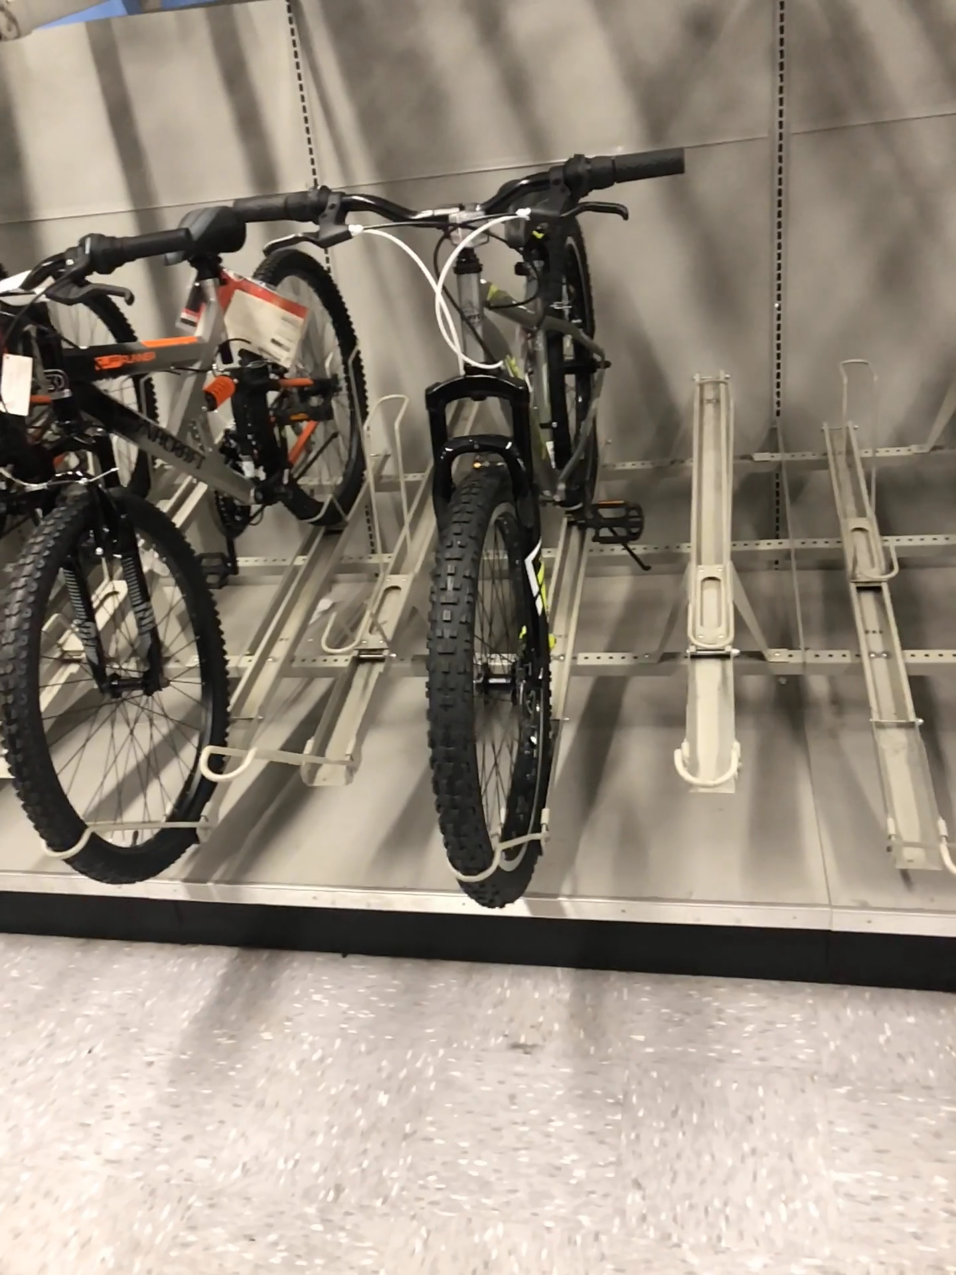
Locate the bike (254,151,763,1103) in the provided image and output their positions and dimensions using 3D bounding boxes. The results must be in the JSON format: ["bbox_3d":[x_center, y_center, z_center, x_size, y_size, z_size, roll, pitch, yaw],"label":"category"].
[{"bbox_3d":[0.209,-0.259,2.008,0.607,0.728,1.726,-1,36,14],"label":"bike"}]
